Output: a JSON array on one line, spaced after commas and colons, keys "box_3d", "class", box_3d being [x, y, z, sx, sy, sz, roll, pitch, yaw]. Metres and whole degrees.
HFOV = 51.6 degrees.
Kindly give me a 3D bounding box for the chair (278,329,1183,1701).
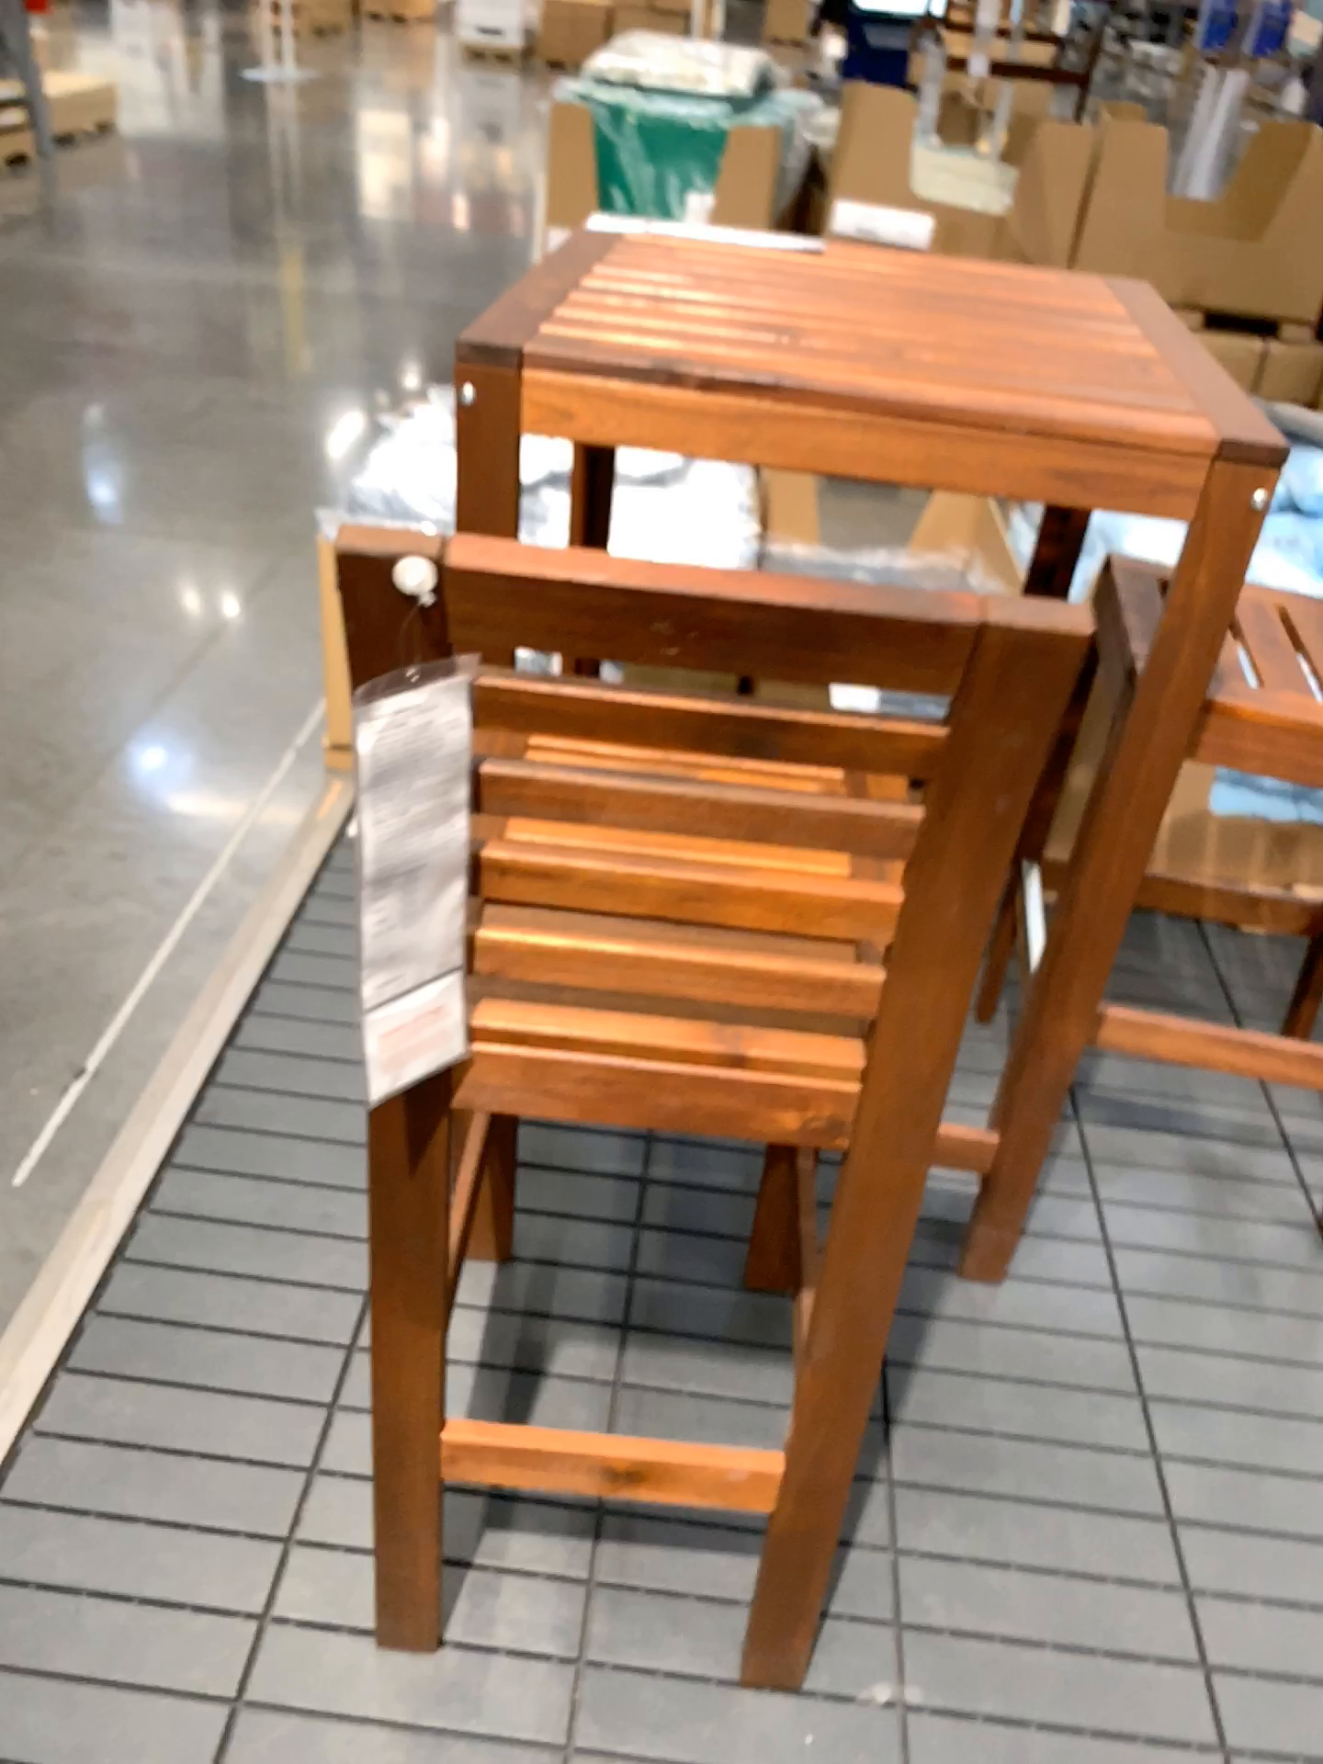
[{"box_3d": [0.000, 0.143, 1.141, 0.430, 0.994, 0.523, 6, 34, -1], "class": "chair"}]
